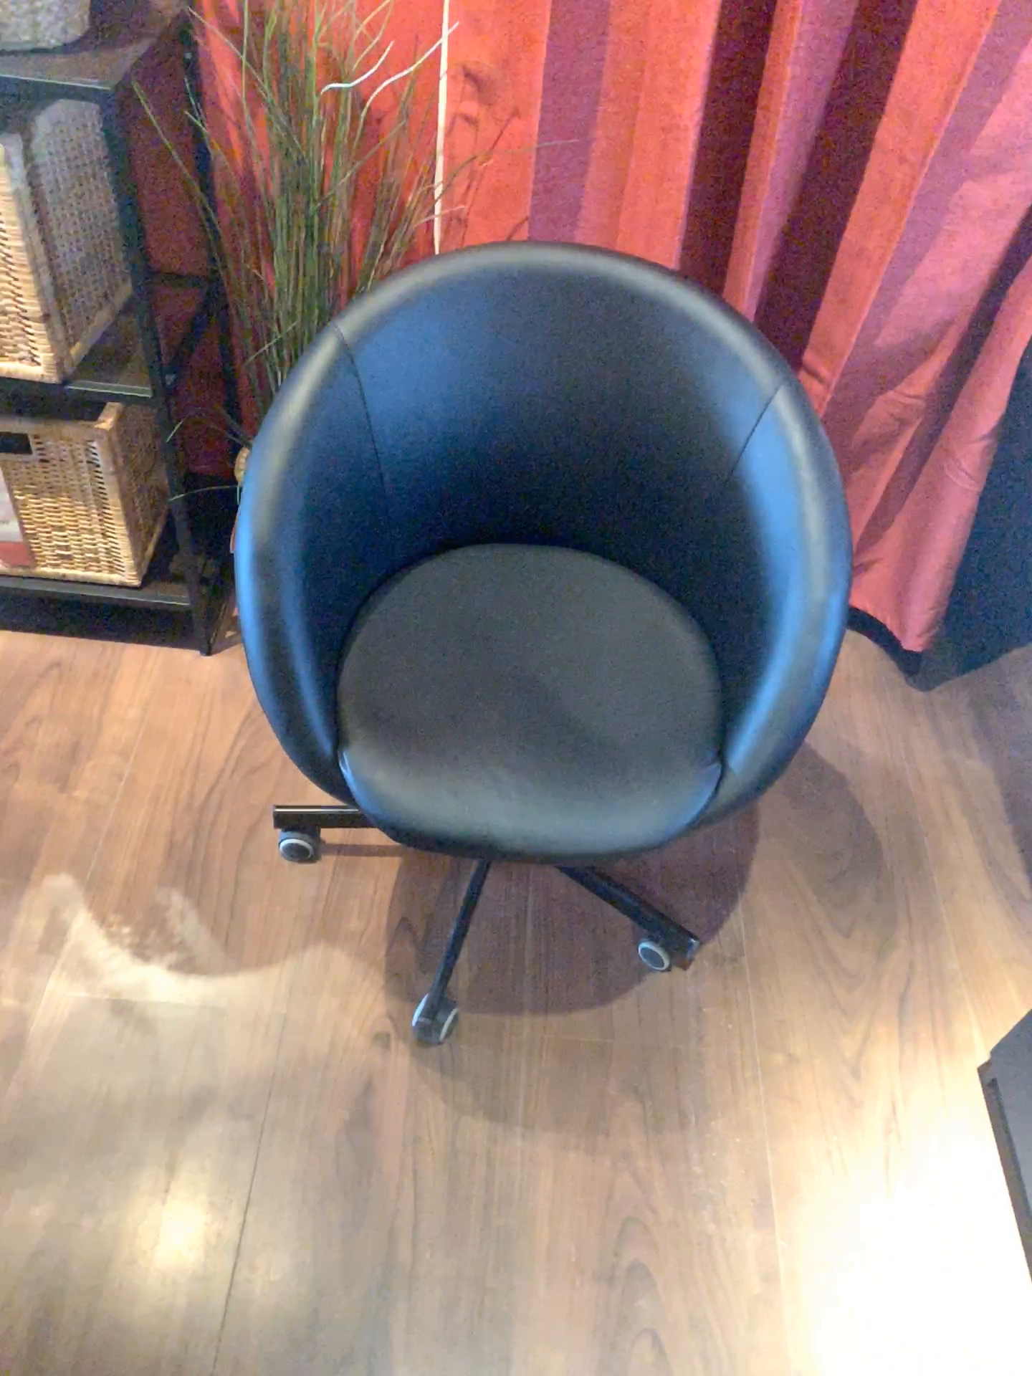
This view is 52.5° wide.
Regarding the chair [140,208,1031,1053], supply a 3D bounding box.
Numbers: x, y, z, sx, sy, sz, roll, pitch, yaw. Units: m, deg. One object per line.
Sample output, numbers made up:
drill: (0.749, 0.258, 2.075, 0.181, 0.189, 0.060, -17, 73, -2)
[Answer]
chair: (0.010, -0.032, 1.161, 0.620, 0.698, 0.582, 1, 48, -7)
